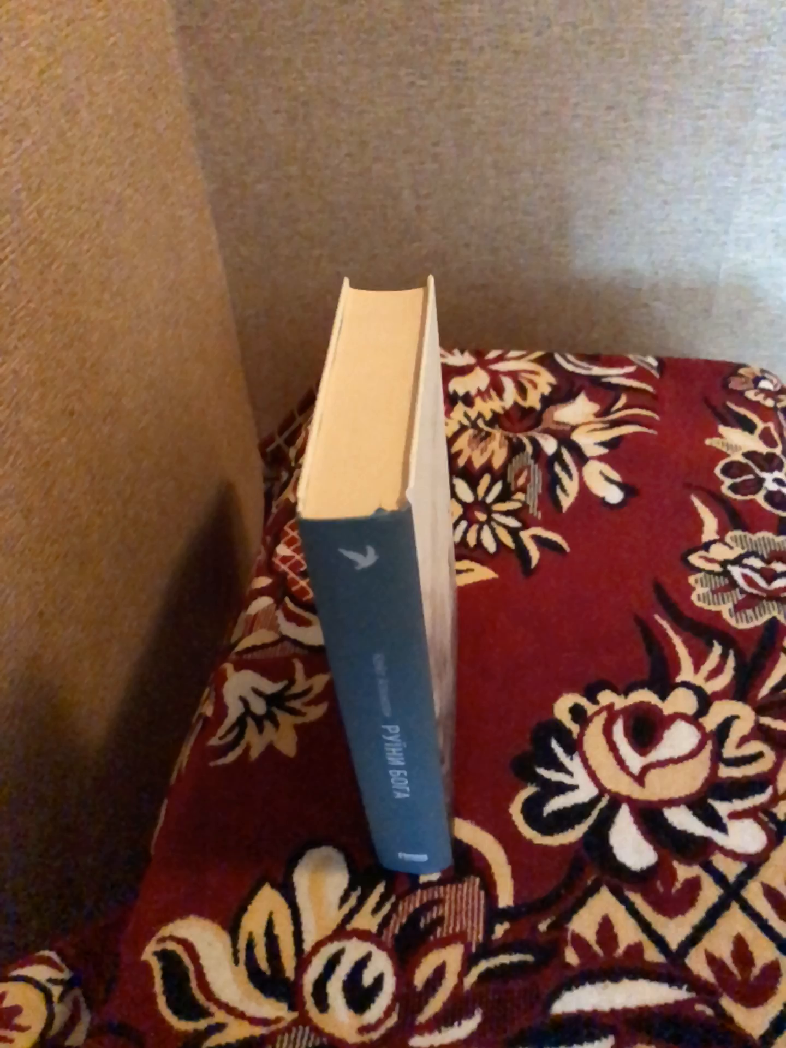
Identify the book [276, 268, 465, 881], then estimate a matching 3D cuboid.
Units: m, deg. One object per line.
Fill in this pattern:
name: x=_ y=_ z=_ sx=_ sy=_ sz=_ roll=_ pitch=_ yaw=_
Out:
book: x=0.004 y=0.026 z=0.364 sx=0.040 sy=0.209 sz=0.151 roll=-2 pitch=41 yaw=7
